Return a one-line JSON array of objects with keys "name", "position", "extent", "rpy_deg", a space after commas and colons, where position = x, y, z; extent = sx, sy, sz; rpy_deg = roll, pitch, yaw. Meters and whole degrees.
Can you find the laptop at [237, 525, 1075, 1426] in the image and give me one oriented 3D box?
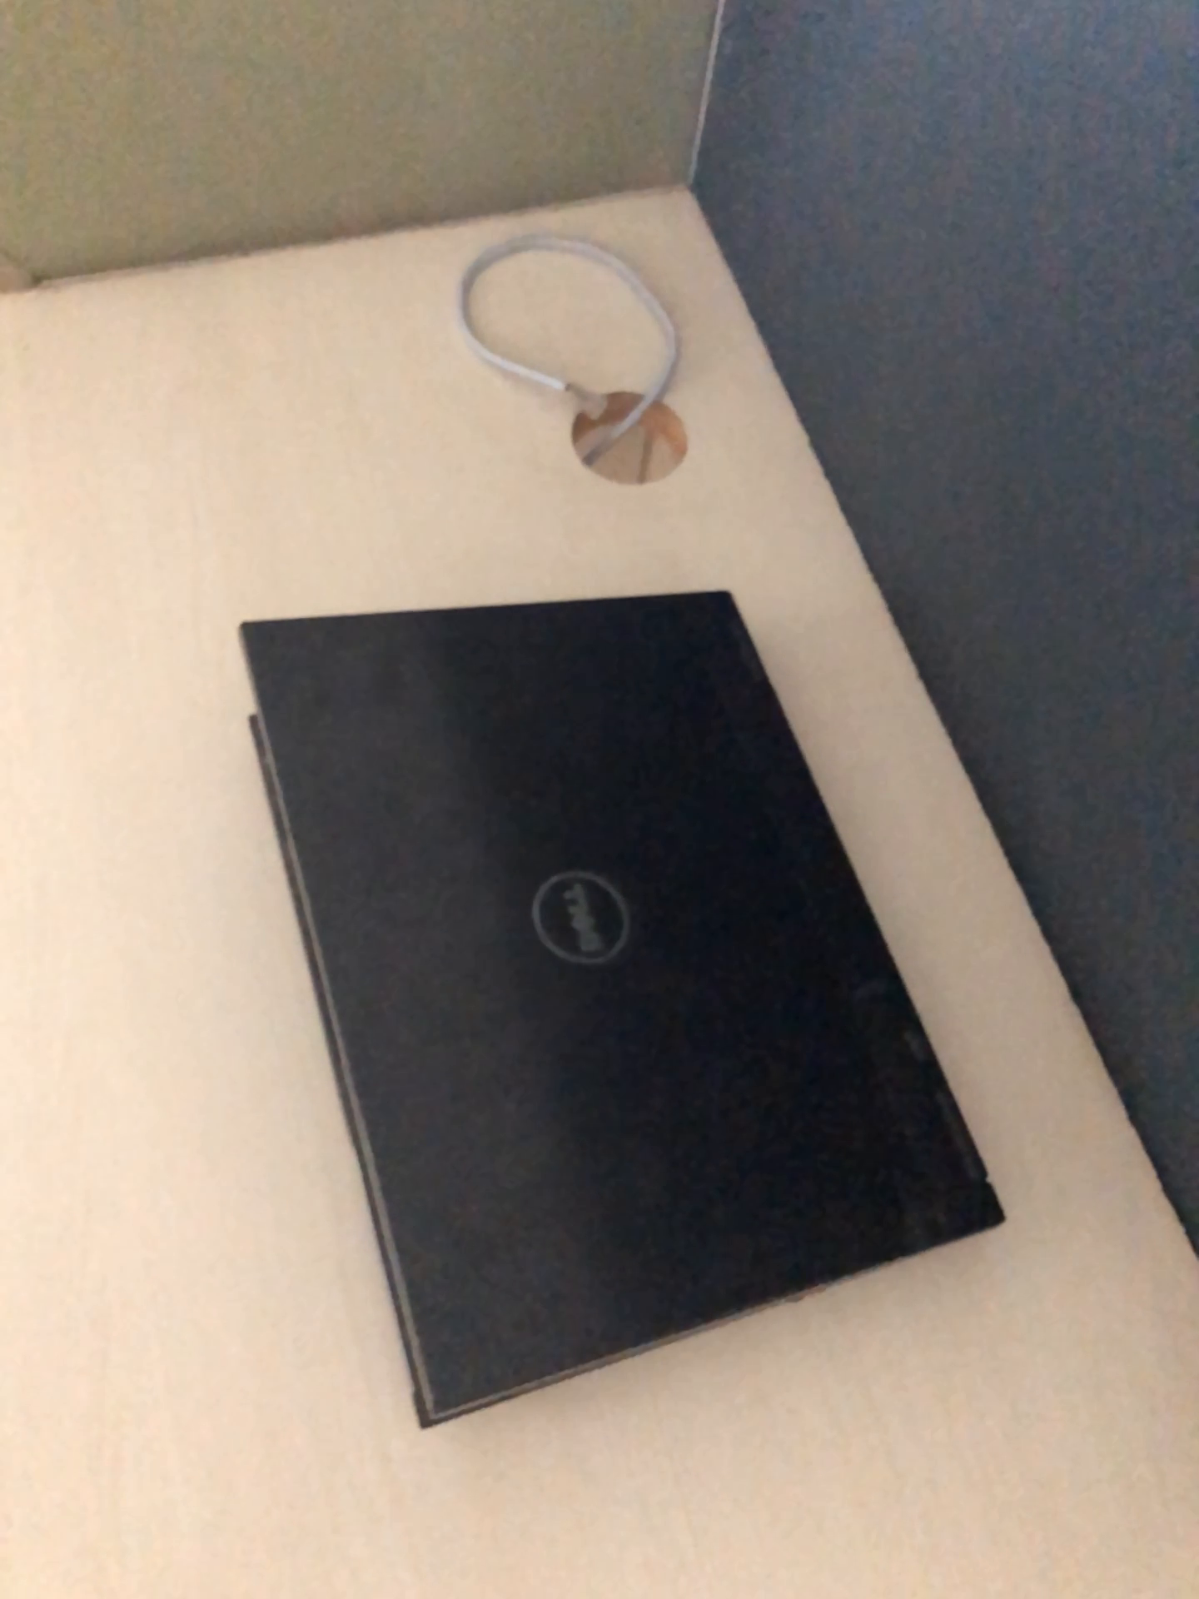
[{"name": "laptop", "position": [0.005, 0.053, 0.533], "extent": [0.230, 0.065, 0.303], "rpy_deg": [-15, 66, -10]}]
